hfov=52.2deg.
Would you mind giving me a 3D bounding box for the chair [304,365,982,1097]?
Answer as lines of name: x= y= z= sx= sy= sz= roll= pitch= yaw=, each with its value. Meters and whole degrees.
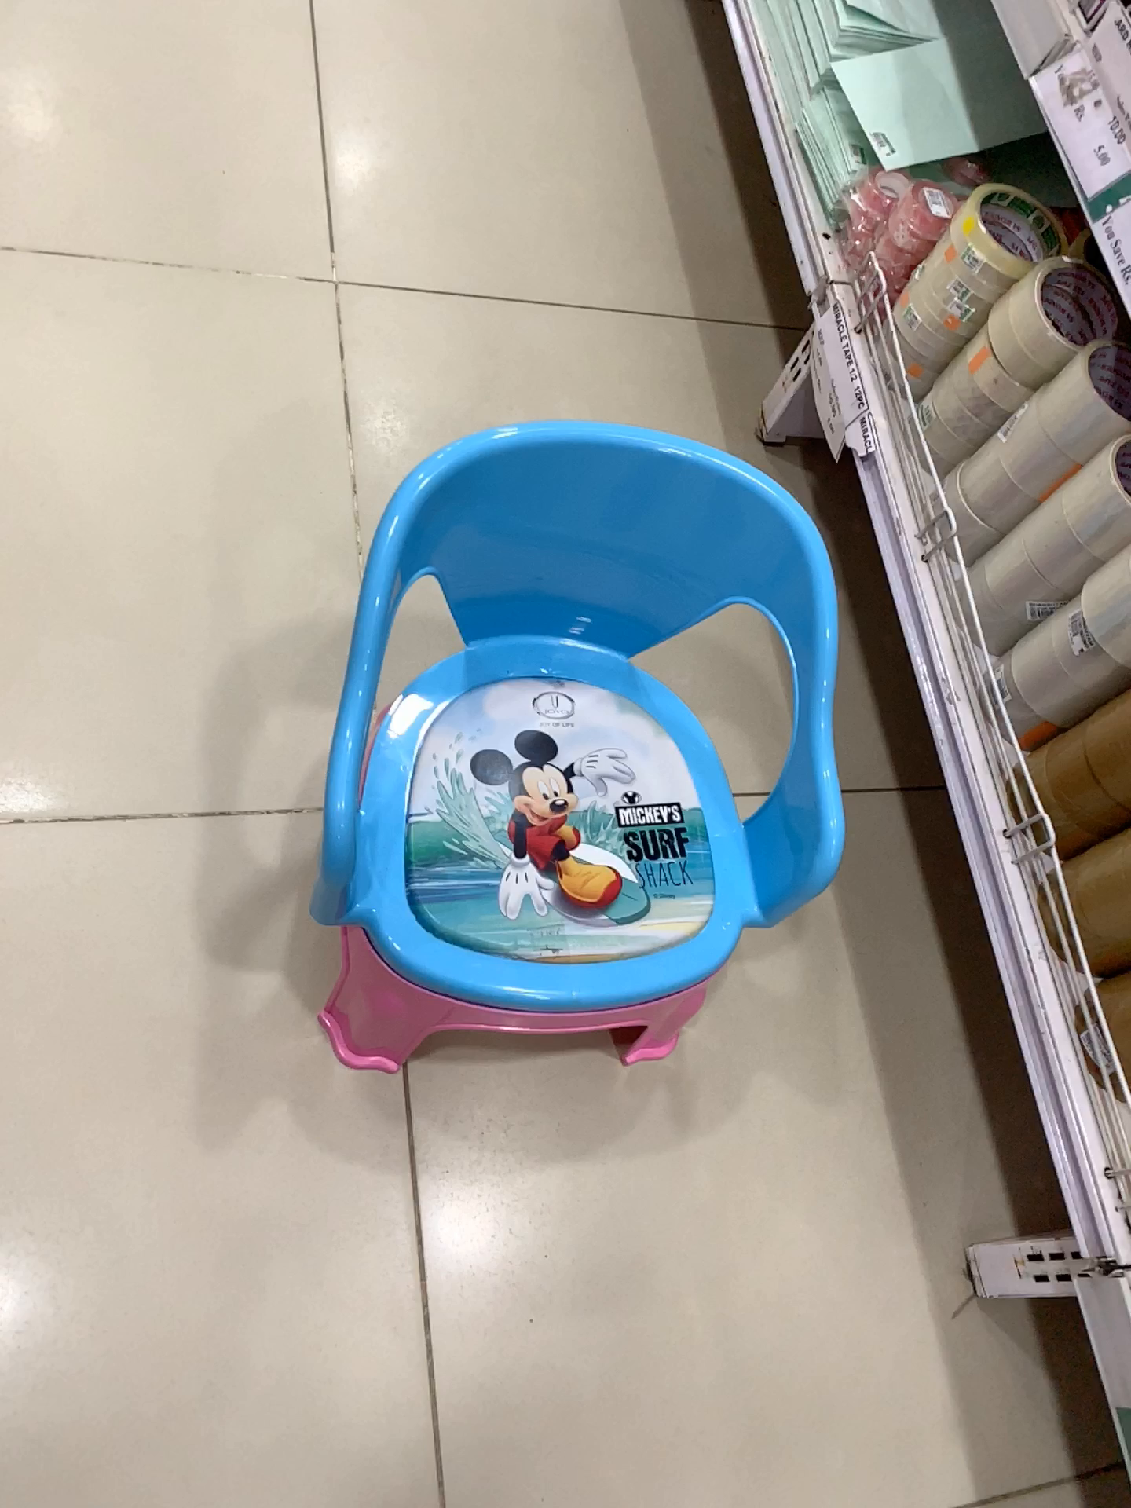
chair: x=0.009 y=0.012 z=0.814 sx=0.350 sy=0.320 sz=0.390 roll=3 pitch=66 yaw=-15
